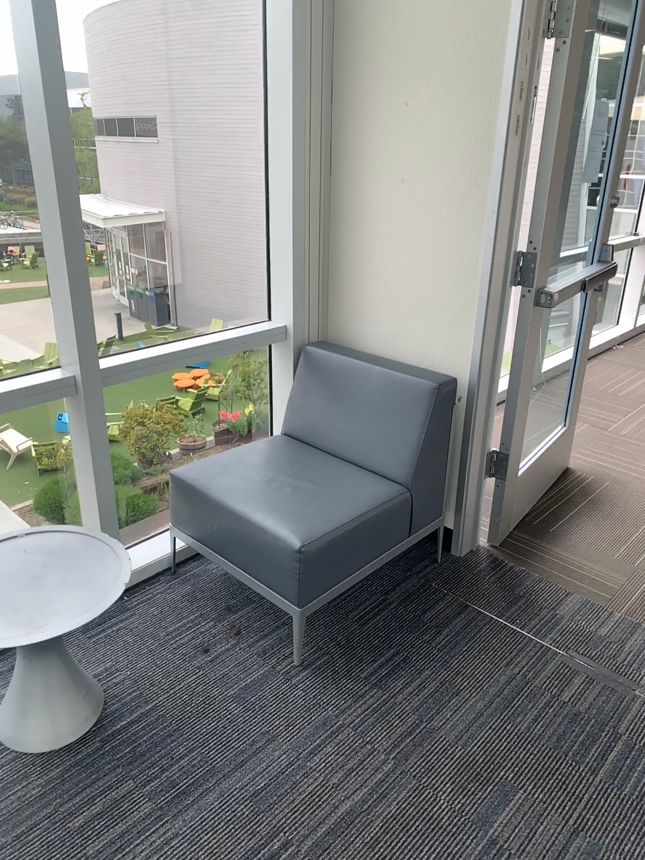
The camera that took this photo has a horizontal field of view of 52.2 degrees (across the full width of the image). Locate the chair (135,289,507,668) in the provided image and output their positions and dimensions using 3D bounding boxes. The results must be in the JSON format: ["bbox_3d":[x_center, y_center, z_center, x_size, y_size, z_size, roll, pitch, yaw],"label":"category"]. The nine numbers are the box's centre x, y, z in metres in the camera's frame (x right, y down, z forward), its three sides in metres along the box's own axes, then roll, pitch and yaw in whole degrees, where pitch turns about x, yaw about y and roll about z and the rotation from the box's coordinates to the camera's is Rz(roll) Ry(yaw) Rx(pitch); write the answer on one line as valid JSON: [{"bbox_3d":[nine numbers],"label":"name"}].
[{"bbox_3d":[-0.008,0.065,2.691,1.004,0.995,1.001,21,30,39],"label":"chair"}]
